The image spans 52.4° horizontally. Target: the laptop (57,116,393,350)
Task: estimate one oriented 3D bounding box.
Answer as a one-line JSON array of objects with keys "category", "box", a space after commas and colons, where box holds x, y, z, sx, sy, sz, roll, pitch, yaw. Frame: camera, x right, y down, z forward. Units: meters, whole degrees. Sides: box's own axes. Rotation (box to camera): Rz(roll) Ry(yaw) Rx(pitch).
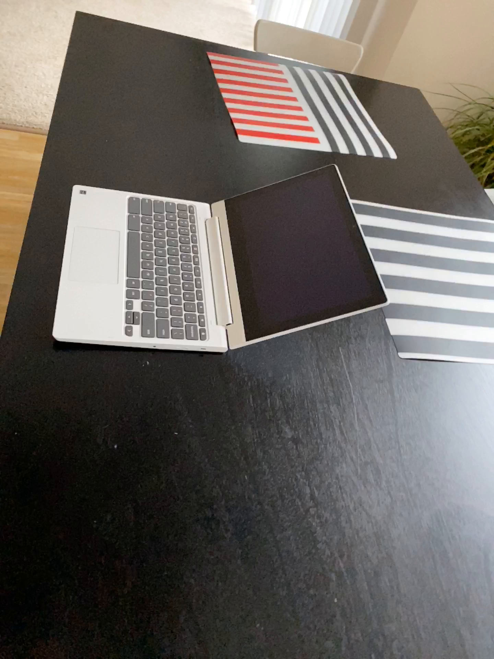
[{"category": "laptop", "box": [-0.037, -0.129, 0.676, 0.380, 0.106, 0.286, 4, 51, -16]}]
